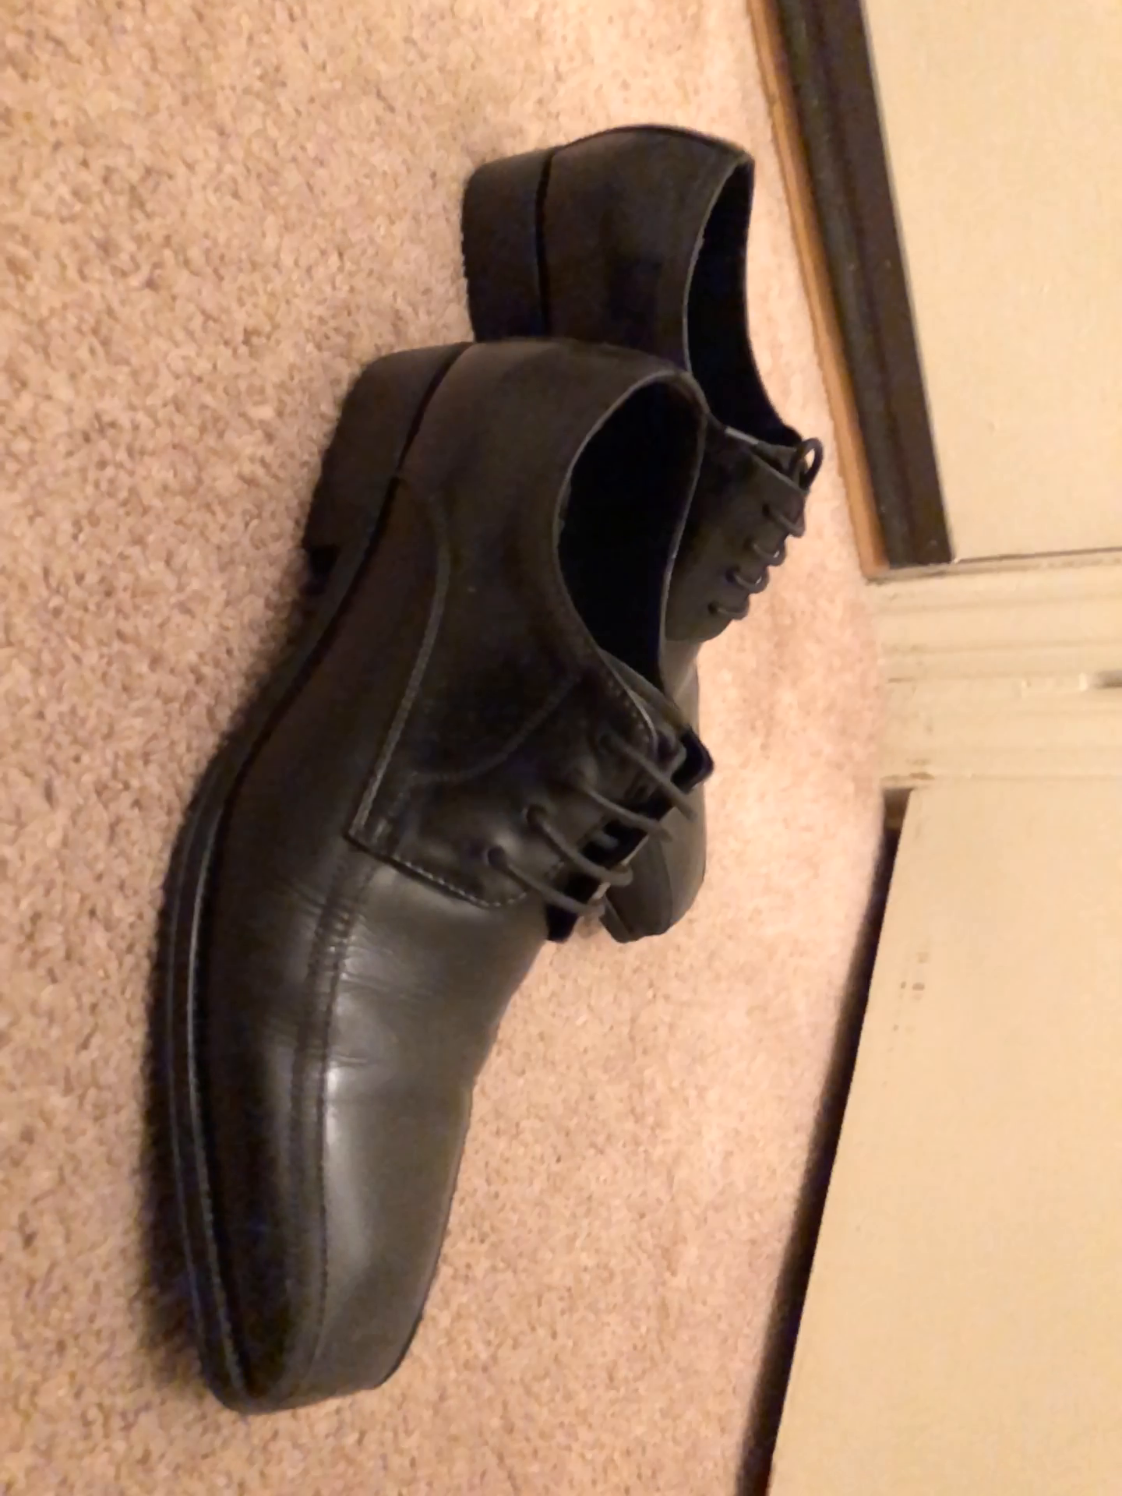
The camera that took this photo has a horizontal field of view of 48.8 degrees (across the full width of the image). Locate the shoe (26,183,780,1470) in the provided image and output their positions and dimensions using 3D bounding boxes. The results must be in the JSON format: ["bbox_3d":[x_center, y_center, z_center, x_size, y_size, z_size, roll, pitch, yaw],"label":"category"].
[{"bbox_3d":[-0.022,0.013,0.331,0.110,0.107,0.283,39,55,-57],"label":"shoe"}]

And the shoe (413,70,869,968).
[{"bbox_3d":[0.042,-0.078,0.486,0.116,0.110,0.297,-30,116,-60],"label":"shoe"}]
